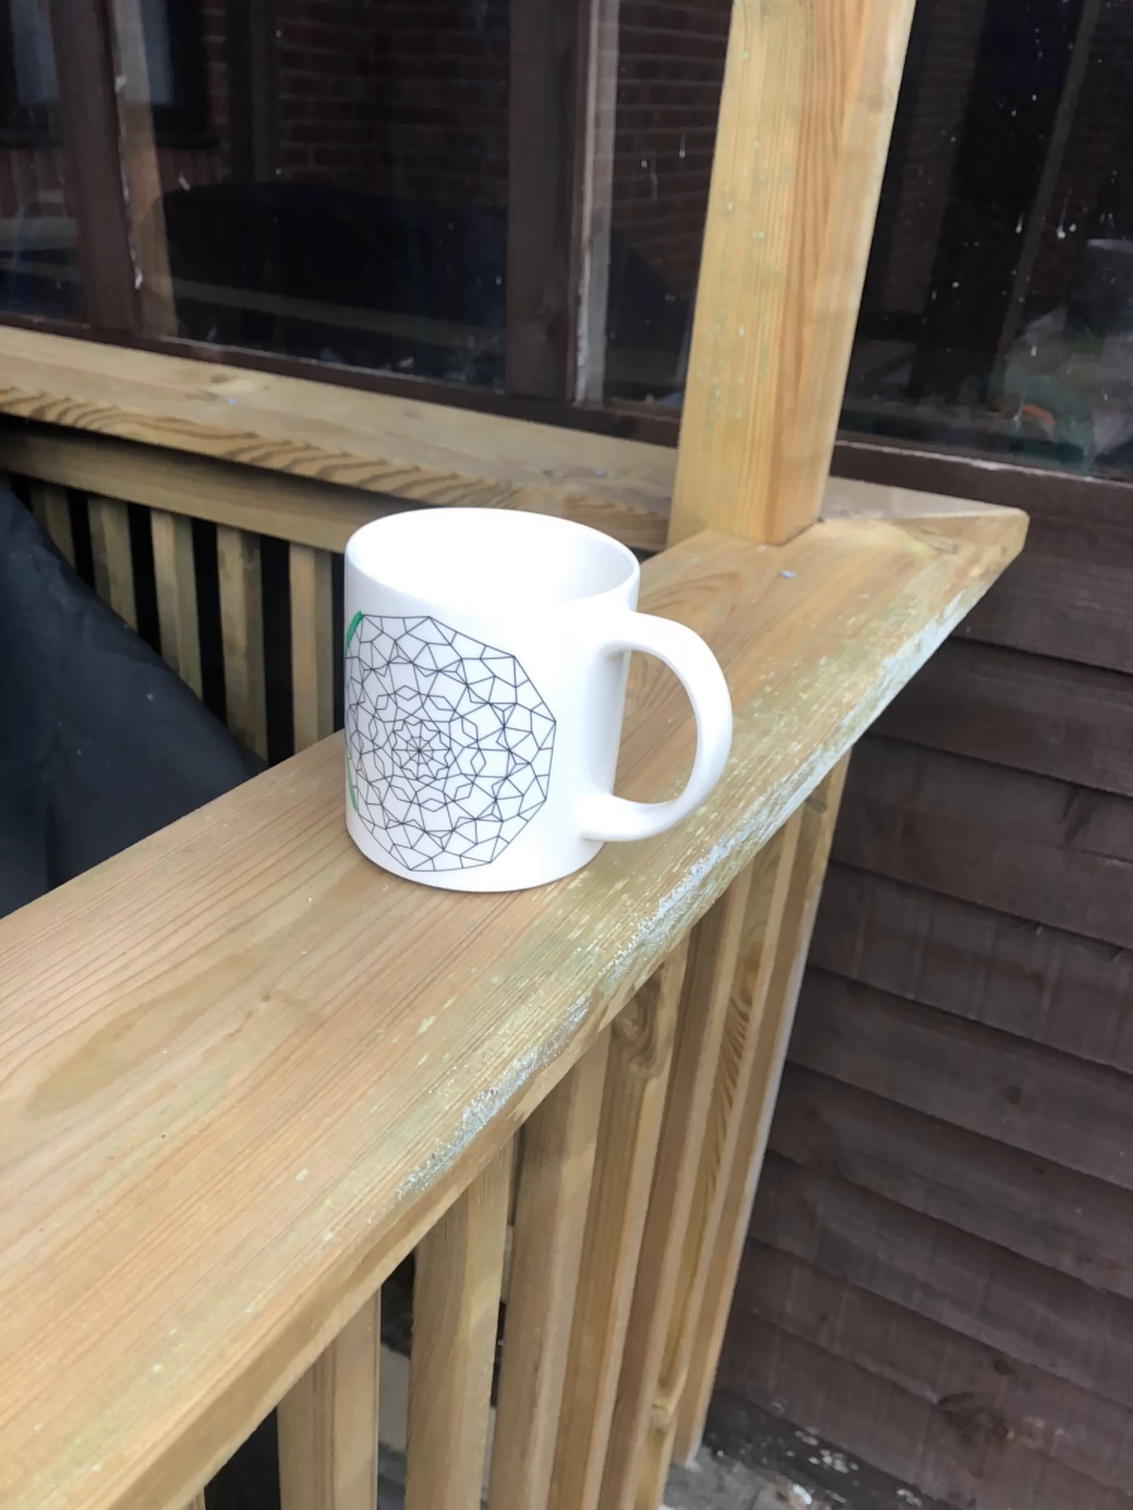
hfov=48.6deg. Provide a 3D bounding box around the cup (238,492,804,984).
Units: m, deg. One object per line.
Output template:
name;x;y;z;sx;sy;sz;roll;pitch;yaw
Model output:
cup;-0.012;-0.013;0.369;0.130;0.089;0.091;14;29;23
